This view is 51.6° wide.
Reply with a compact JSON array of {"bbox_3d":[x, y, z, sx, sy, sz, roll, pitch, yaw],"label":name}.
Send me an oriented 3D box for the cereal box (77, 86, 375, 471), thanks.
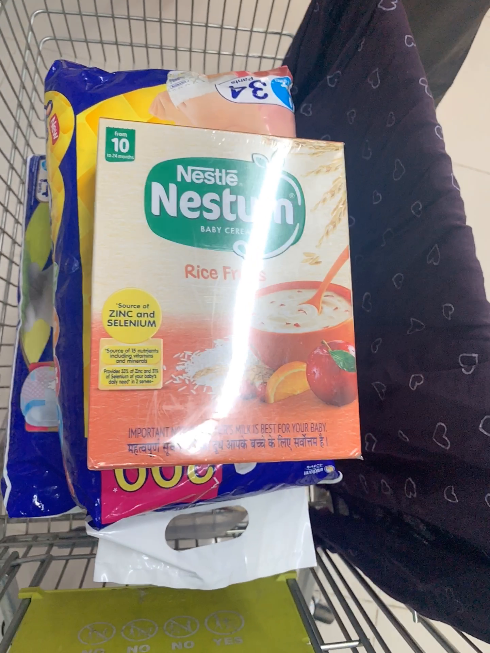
[{"bbox_3d":[-0.012,-0.026,0.309,0.160,0.050,0.210,1,81,-12],"label":"cereal box"}]
